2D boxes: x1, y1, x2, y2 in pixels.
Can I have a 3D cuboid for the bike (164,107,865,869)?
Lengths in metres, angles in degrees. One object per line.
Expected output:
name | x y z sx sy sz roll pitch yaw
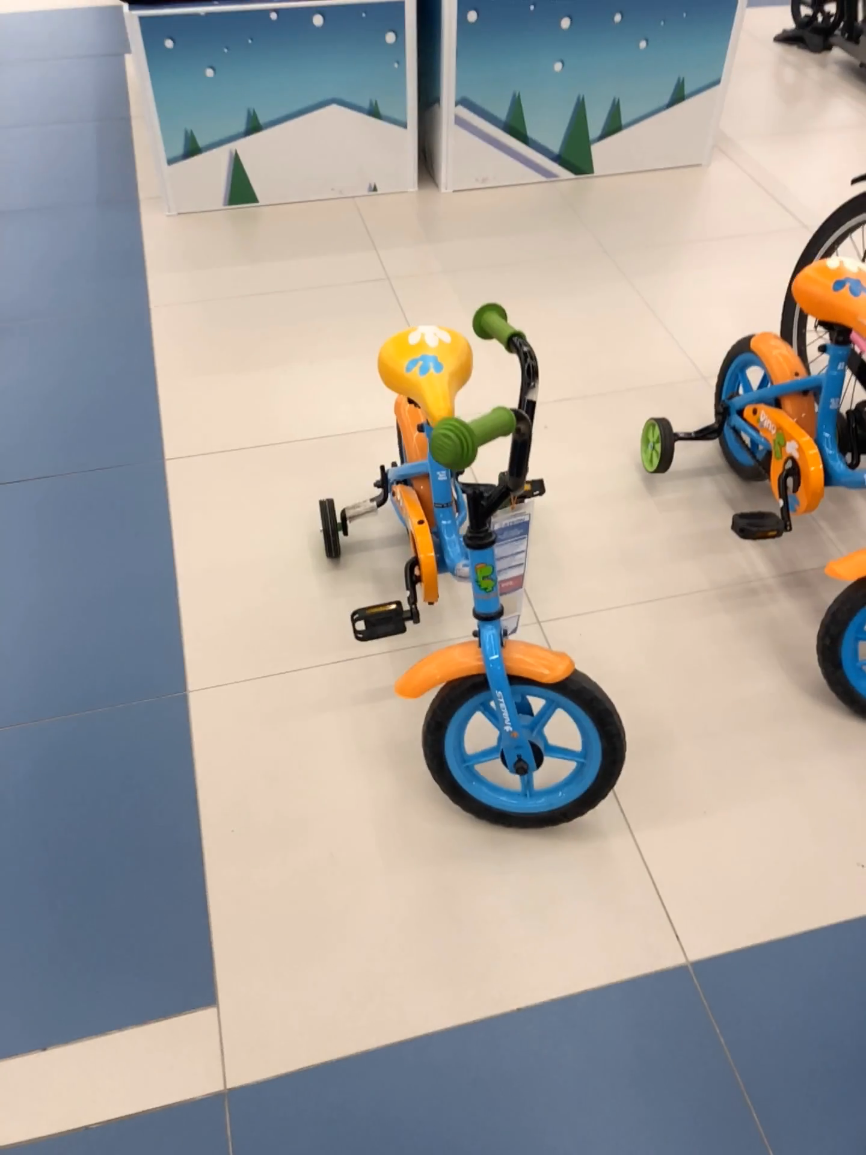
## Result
bike | 0.058 -0.151 1.351 0.565 0.681 0.754 -16 49 -16
